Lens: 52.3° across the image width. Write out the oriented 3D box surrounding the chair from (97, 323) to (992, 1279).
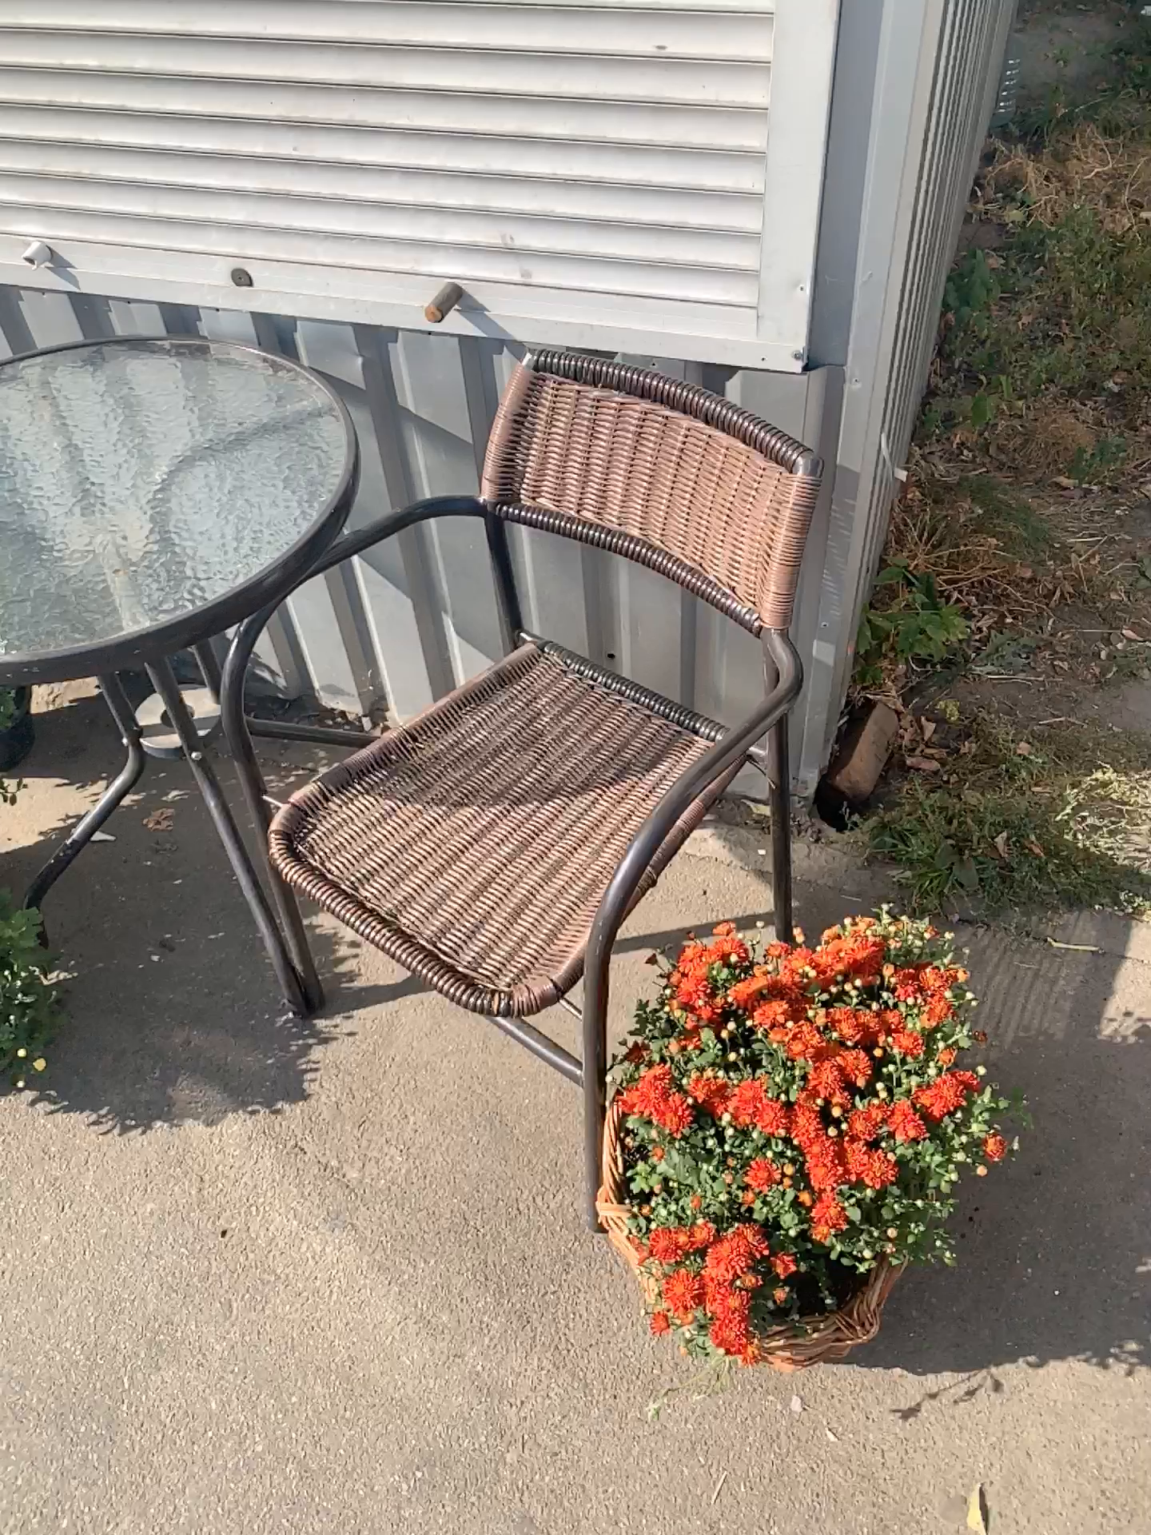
[{"bbox_3d":[0.010,0.024,1.405,0.571,0.717,0.691,27,55,26],"label":"chair"}]
